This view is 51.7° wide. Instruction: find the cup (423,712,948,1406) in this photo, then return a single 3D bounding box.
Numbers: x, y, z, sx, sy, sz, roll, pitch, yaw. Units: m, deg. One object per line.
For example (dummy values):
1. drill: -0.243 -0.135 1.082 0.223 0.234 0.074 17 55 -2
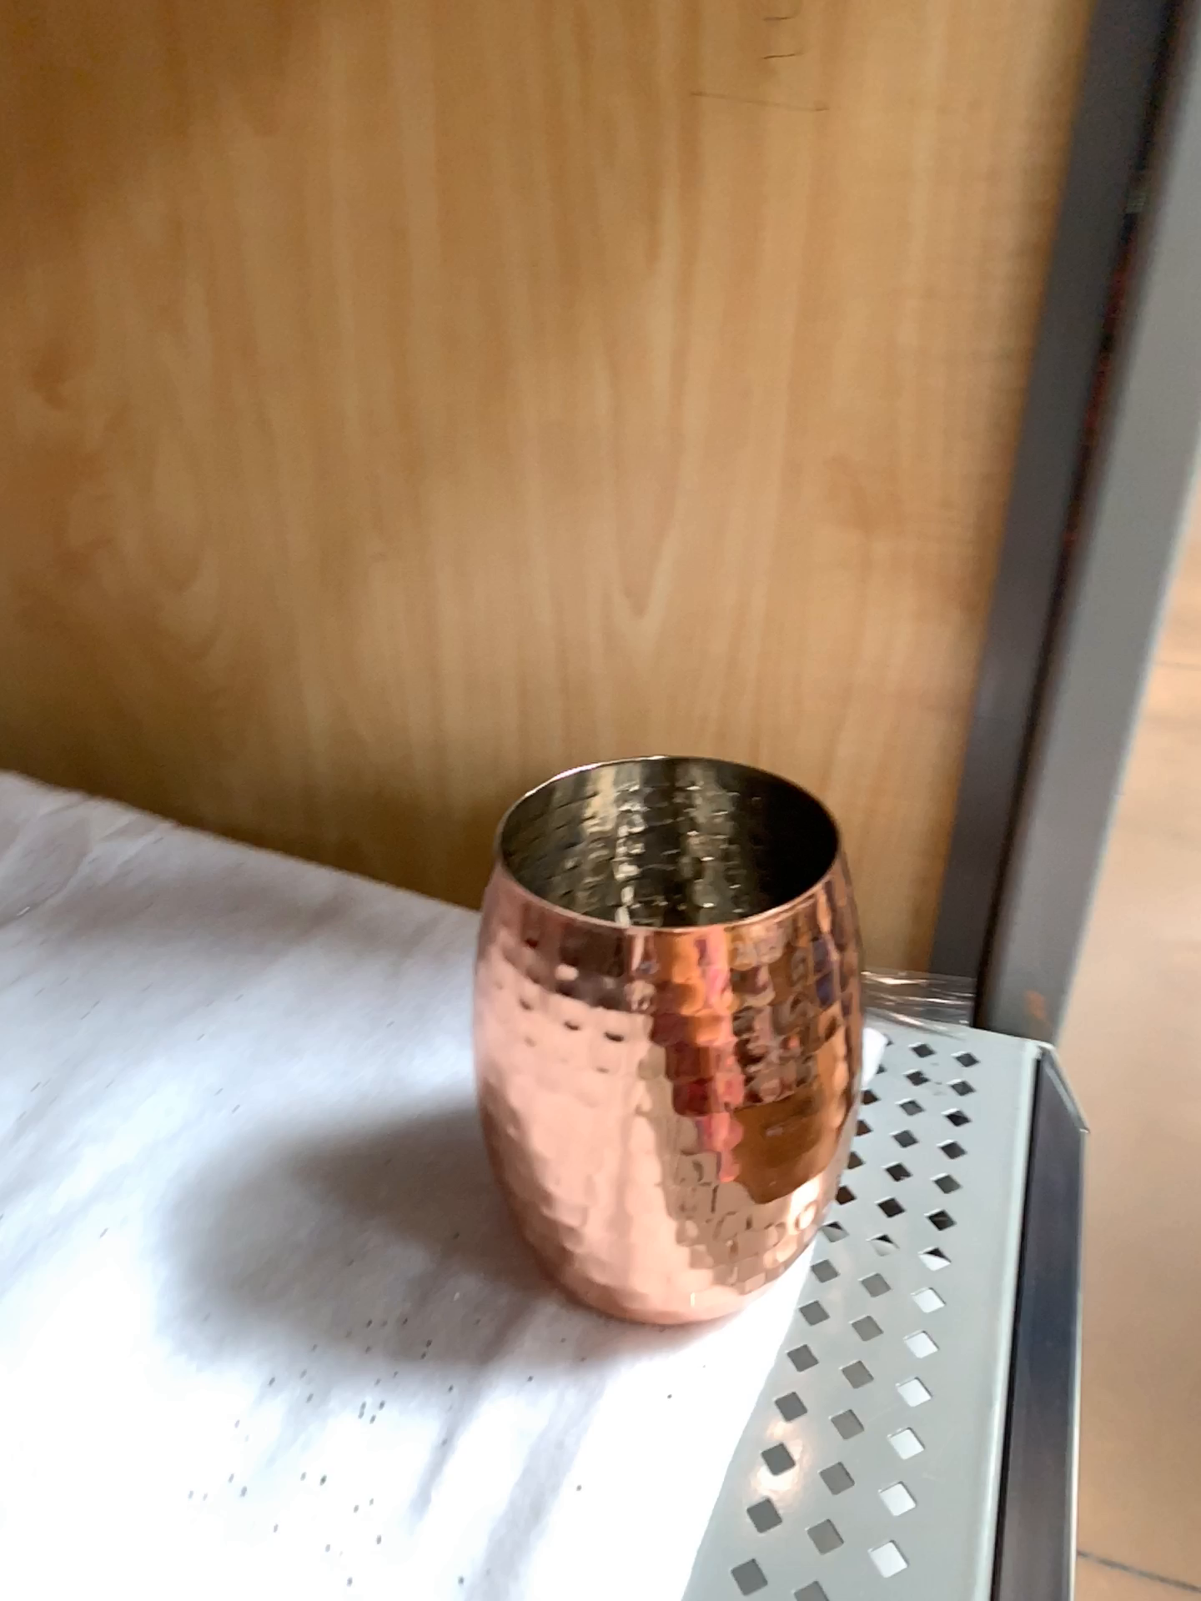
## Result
1. cup: 0.020 0.051 0.270 0.080 0.104 0.079 0 31 0
